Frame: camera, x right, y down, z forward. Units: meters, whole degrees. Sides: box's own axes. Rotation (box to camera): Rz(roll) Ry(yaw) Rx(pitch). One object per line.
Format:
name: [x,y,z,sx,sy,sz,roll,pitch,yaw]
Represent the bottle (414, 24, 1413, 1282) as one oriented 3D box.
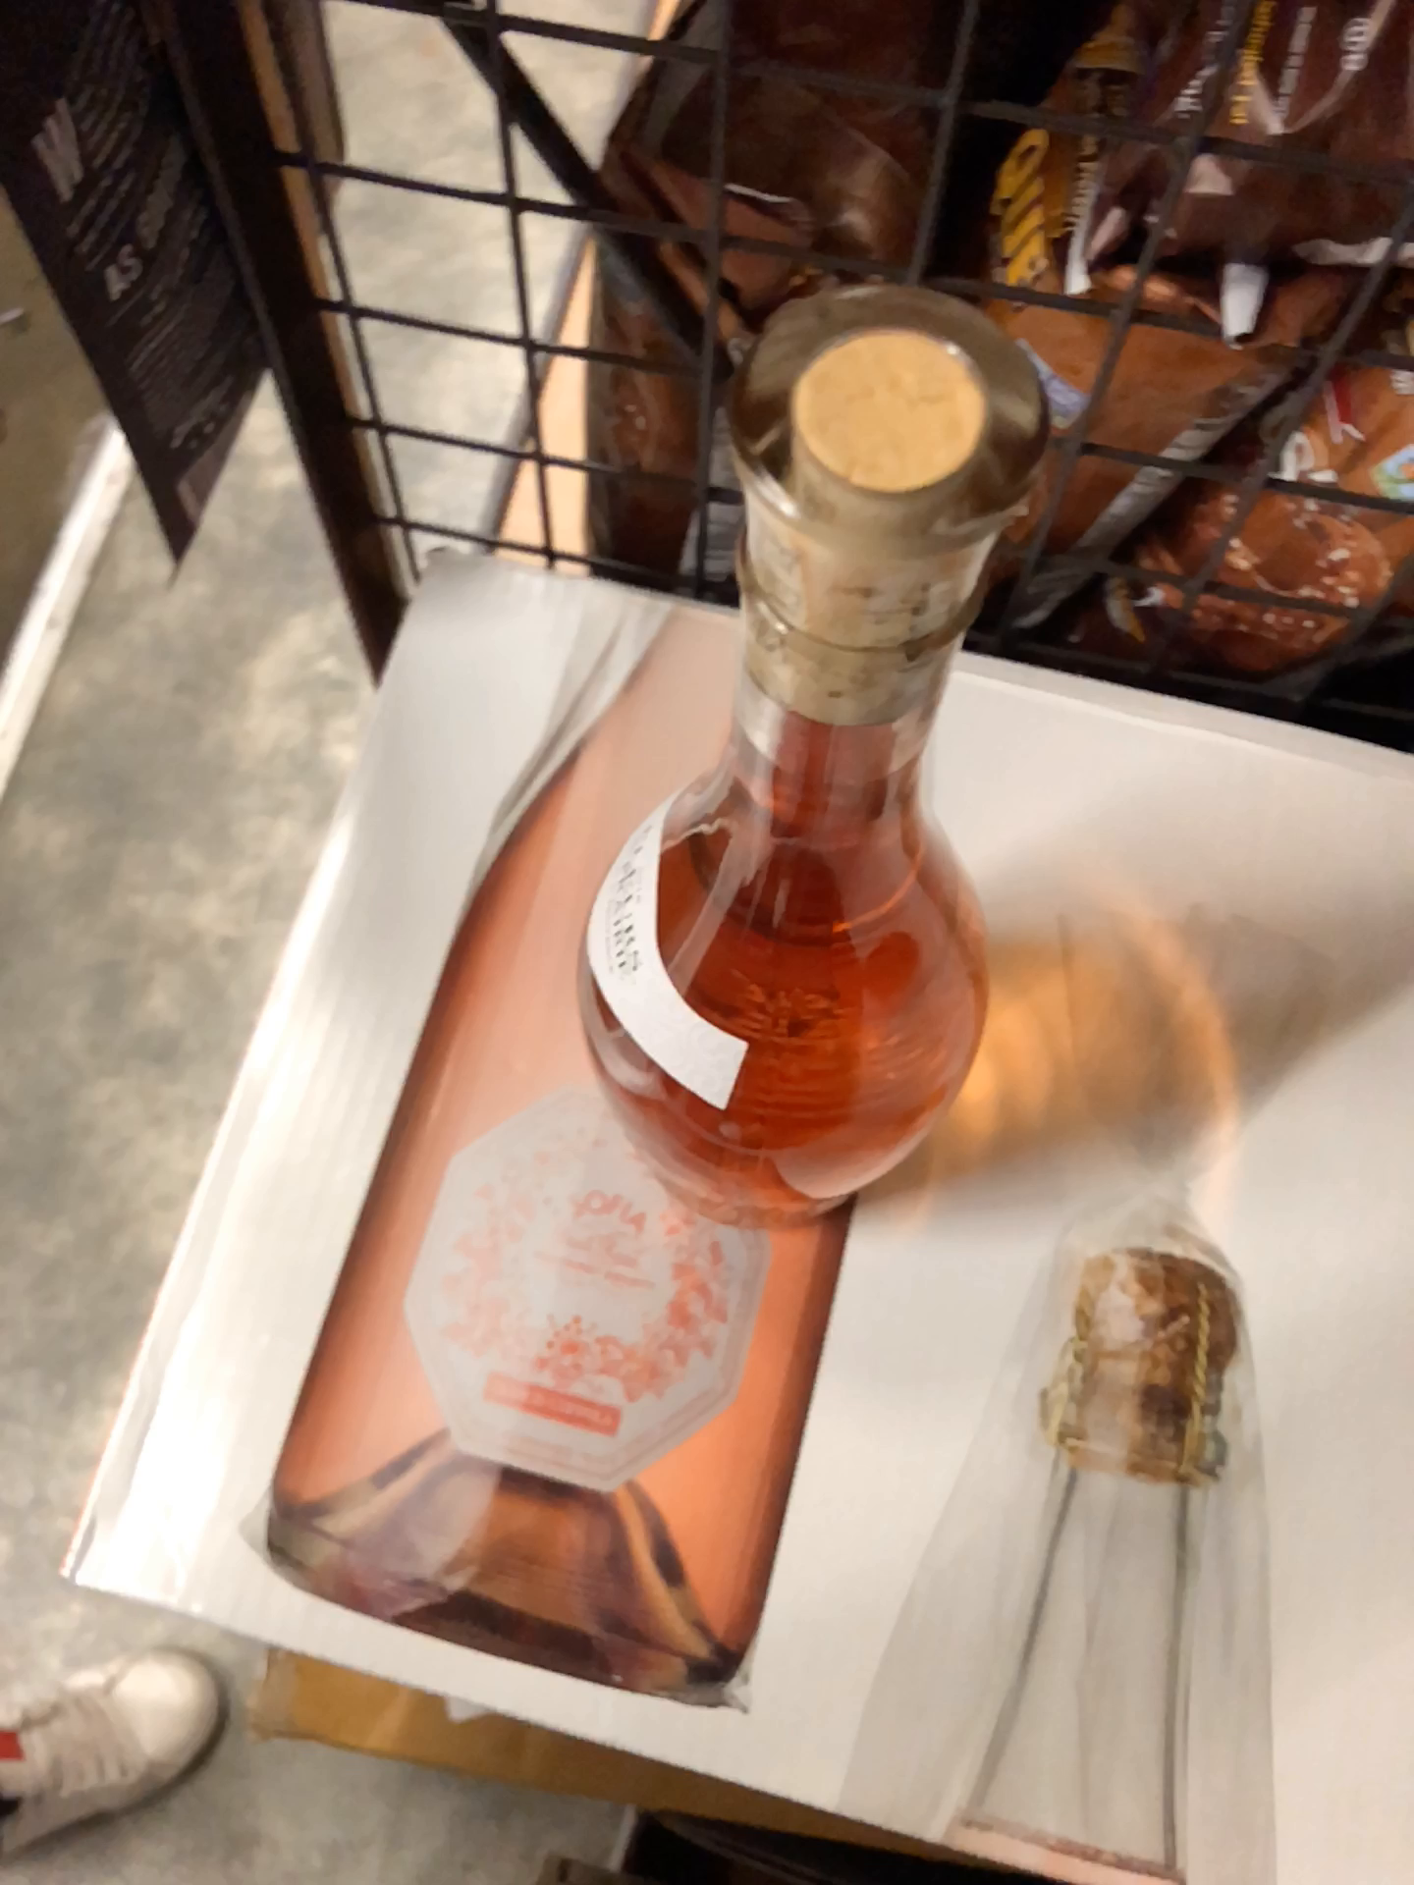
bottle: [0.017,-0.003,0.291,0.090,0.300,0.080,5,70,0]
